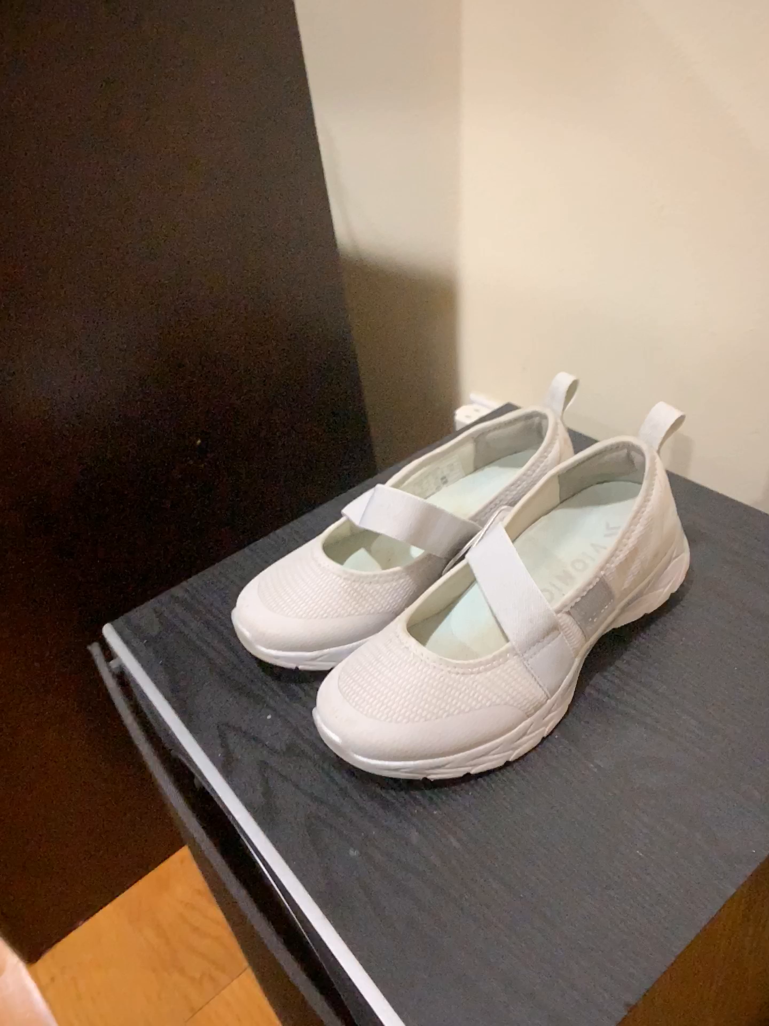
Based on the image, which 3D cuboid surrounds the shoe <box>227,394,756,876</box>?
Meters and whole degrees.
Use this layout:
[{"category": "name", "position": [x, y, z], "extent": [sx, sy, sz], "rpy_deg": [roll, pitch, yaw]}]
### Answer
[{"category": "shoe", "position": [0.063, 0.045, 0.407], "extent": [0.249, 0.093, 0.103], "rpy_deg": [-30, 41, -24]}]

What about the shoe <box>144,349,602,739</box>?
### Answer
[{"category": "shoe", "position": [0.005, 0.004, 0.475], "extent": [0.249, 0.093, 0.103], "rpy_deg": [-30, 41, -24]}]
